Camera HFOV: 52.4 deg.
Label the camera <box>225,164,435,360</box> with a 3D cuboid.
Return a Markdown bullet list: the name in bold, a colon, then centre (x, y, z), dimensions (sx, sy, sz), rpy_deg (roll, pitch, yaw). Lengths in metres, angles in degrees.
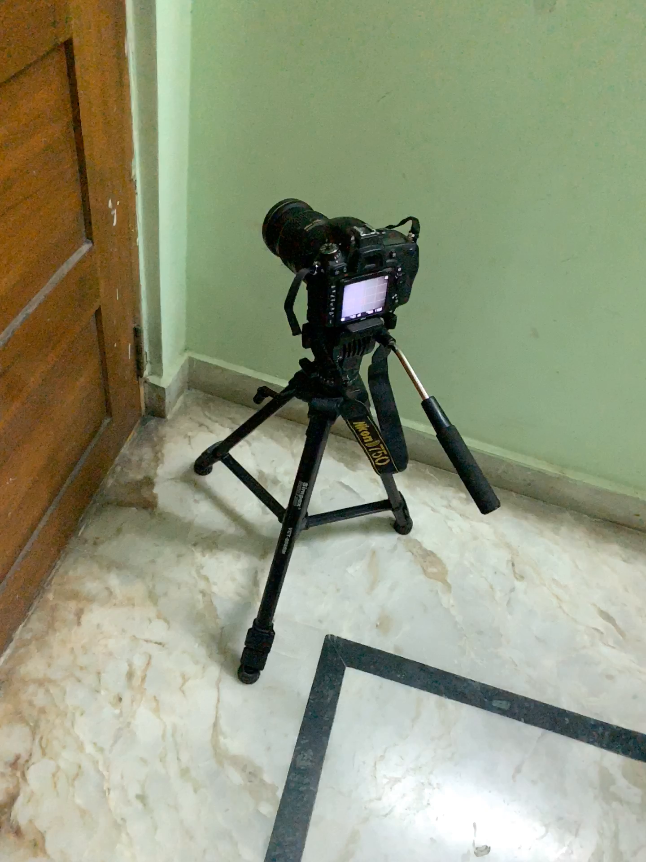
- **camera**: centre (0.001, -0.223, 0.843), dimensions (0.175, 0.128, 0.189), rpy_deg (-22, 58, -28)
